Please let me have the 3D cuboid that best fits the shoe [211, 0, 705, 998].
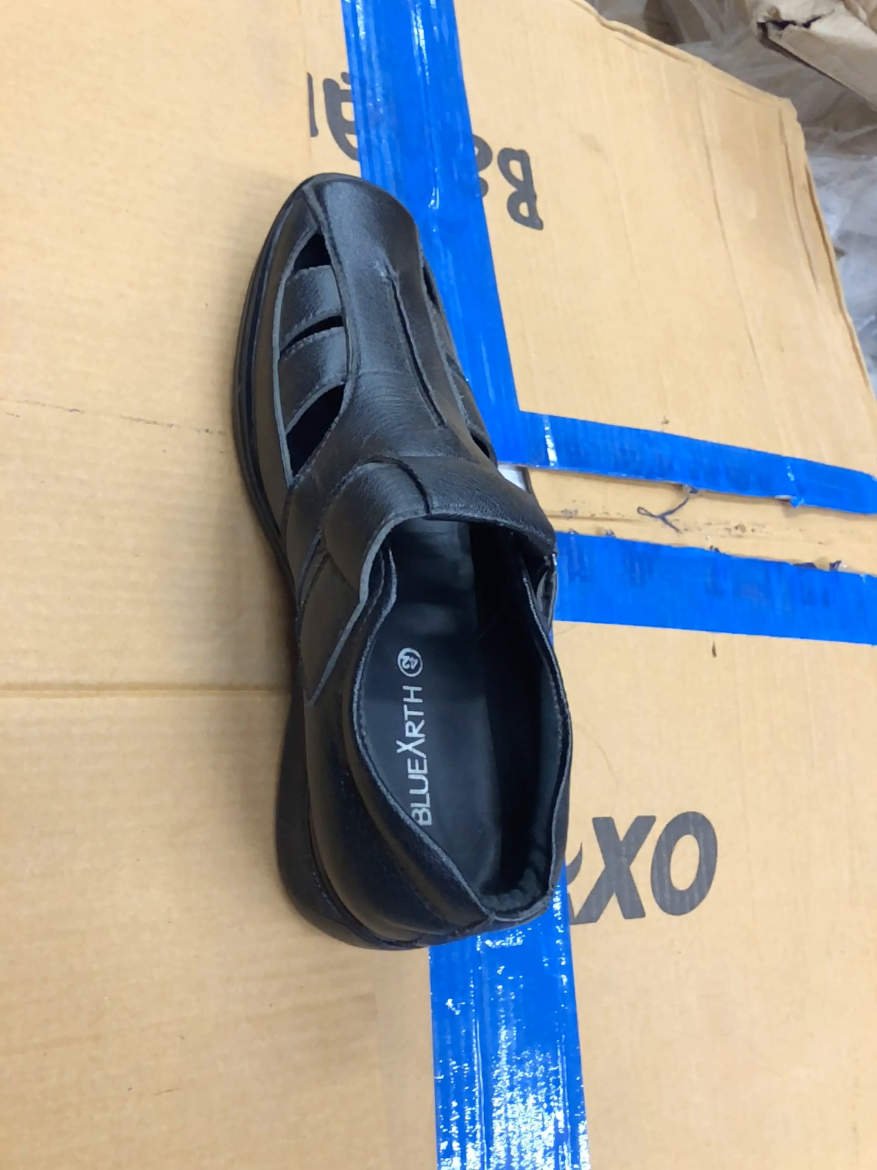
[{"bbox_3d":[-0.006,-0.033,0.335,0.101,0.097,0.304,3,73,-32],"label":"shoe"}]
